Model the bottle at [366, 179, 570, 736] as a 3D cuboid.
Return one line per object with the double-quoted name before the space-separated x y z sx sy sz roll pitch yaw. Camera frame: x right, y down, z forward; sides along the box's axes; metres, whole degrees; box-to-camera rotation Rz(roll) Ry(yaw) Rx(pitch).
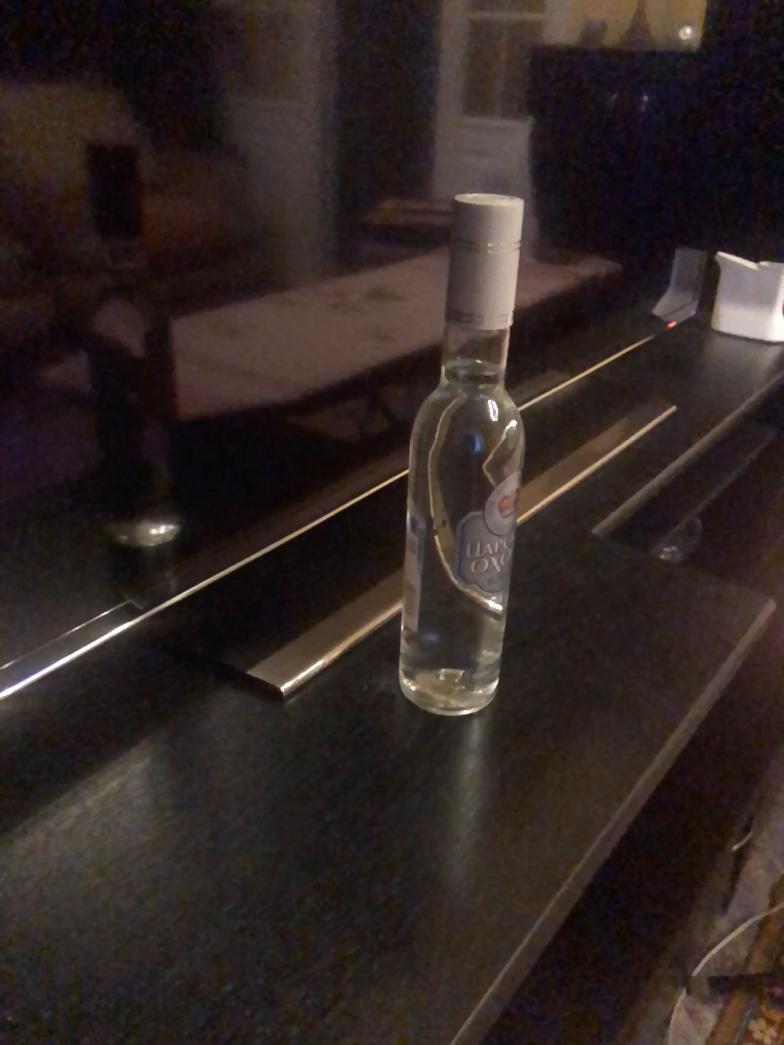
"bottle" 0.033 -0.026 0.473 0.067 0.290 0.064 1 29 -1
